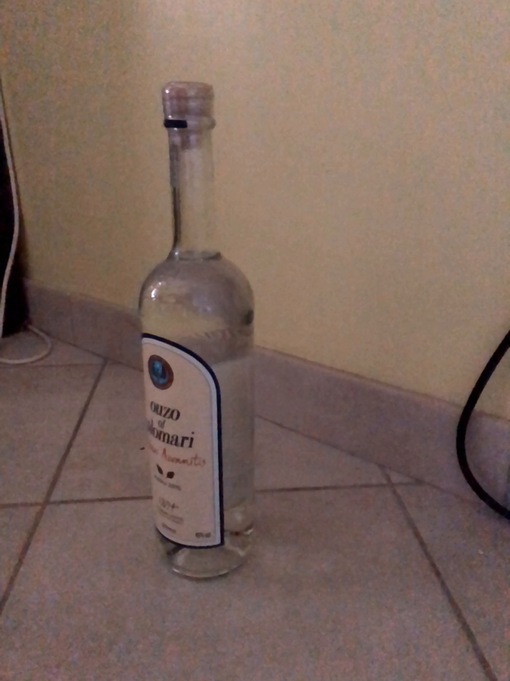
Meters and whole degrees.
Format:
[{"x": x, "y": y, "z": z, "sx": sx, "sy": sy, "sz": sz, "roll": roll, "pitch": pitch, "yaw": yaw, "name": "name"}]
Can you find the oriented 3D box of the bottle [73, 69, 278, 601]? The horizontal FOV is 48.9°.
[{"x": -0.041, "y": 0.003, "z": 0.369, "sx": 0.080, "sy": 0.318, "sz": 0.080, "roll": -1, "pitch": 20, "yaw": 0, "name": "bottle"}]
